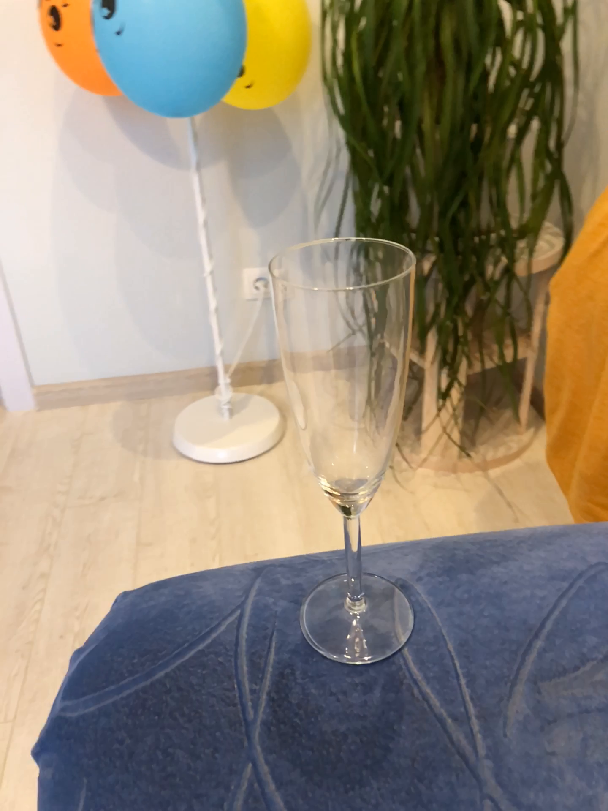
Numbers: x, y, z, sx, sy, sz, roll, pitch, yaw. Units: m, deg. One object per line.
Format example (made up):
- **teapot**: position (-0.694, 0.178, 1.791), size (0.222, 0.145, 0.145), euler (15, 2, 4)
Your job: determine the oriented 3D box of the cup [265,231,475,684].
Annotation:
- **cup**: position (0.025, 0.033, 0.328), size (0.076, 0.214, 0.072), euler (-1, 31, 1)
